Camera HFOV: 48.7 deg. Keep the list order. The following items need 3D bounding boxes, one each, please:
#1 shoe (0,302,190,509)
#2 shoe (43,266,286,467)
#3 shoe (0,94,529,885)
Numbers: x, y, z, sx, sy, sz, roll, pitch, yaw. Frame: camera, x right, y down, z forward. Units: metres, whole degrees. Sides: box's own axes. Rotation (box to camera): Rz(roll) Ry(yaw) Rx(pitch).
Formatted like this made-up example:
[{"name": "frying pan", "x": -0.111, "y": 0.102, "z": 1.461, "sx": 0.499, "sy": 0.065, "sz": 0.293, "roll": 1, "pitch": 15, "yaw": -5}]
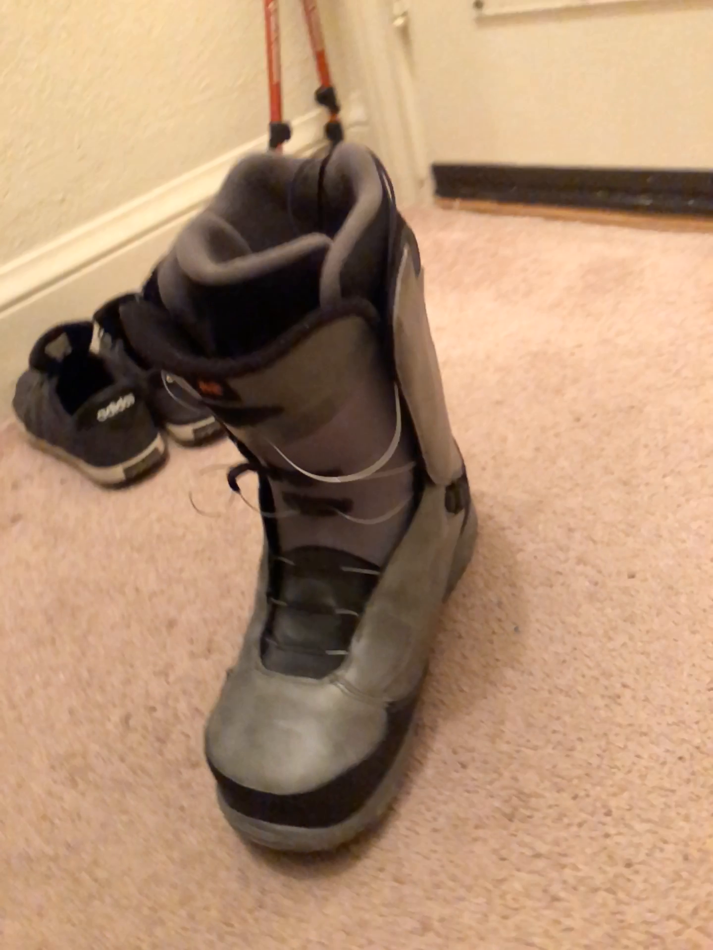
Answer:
[{"name": "shoe", "x": -0.295, "y": -0.081, "z": 0.790, "sx": 0.087, "sy": 0.106, "sz": 0.284, "roll": -38, "pitch": 41, "yaw": -26}, {"name": "shoe", "x": -0.222, "y": -0.133, "z": 0.877, "sx": 0.107, "sy": 0.116, "sz": 0.304, "roll": -33, "pitch": 39, "yaw": -27}, {"name": "shoe", "x": -0.030, "y": -0.003, "z": 0.422, "sx": 0.137, "sy": 0.281, "sz": 0.274, "roll": 7, "pitch": 43, "yaw": 29}]
